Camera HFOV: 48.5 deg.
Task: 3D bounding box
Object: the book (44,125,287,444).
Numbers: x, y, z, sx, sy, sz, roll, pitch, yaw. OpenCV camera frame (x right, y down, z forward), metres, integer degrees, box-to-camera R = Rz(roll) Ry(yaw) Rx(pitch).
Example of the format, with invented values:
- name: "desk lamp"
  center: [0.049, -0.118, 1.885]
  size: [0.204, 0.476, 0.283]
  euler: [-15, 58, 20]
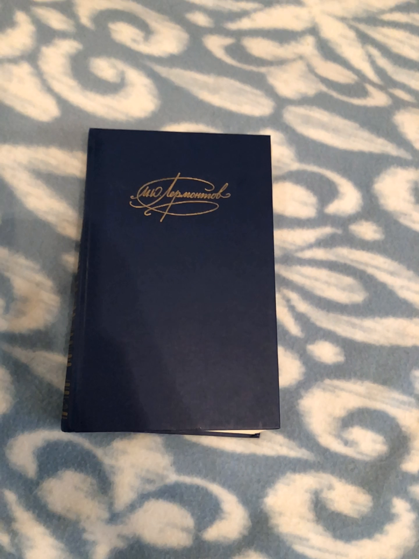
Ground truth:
- name: "book"
  center: [-0.024, 0.001, 0.310]
  size: [0.138, 0.040, 0.200]
  euler: [2, 76, -4]
